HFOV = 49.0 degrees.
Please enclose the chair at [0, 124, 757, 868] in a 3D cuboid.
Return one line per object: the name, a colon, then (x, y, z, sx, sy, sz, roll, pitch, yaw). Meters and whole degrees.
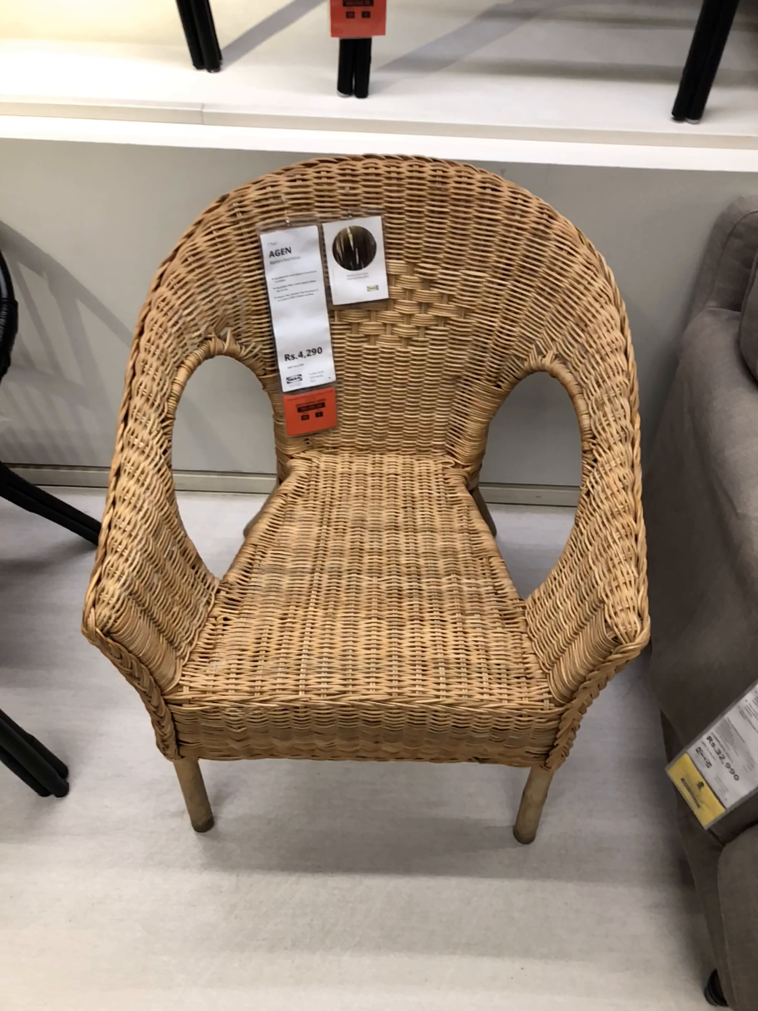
chair: (-0.005, 0.029, 1.034, 0.550, 0.696, 0.603, 2, 52, 0)
